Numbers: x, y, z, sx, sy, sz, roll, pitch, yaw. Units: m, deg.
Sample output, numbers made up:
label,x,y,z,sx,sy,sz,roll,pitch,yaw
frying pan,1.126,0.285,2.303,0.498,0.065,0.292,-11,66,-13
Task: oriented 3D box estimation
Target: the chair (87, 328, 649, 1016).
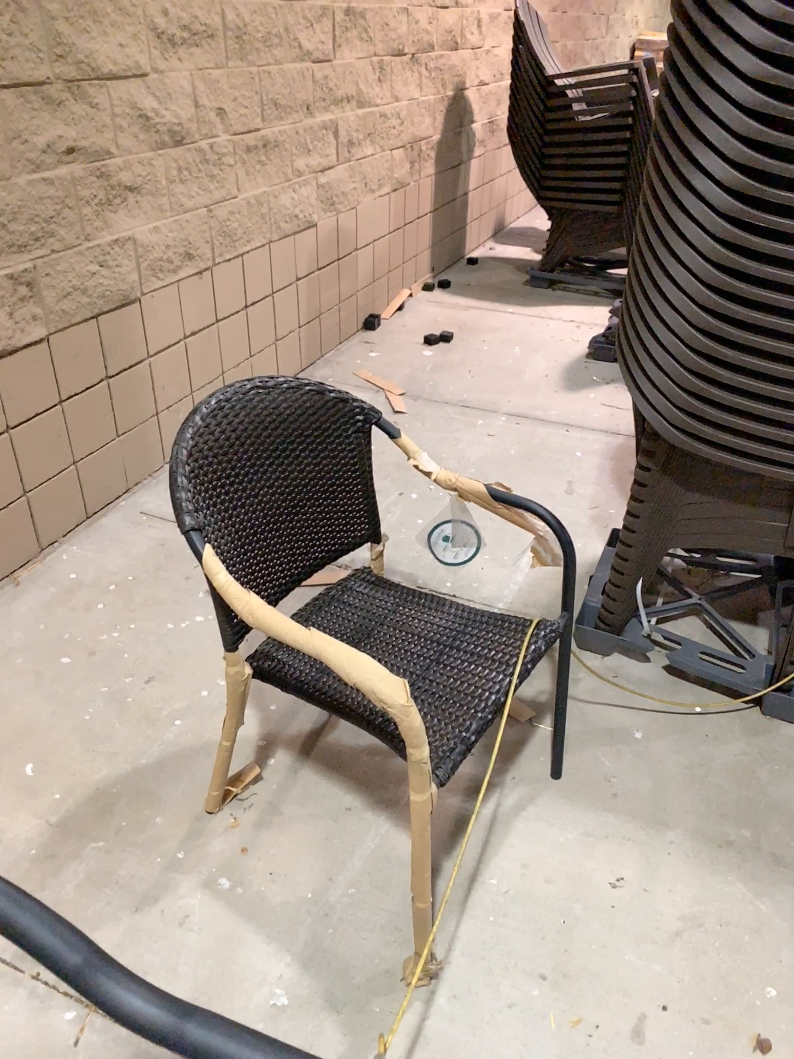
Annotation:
label,x,y,z,sx,sy,sz,roll,pitch,yaw
chair,-0.021,0.195,1.396,0.598,0.840,0.577,19,36,27
